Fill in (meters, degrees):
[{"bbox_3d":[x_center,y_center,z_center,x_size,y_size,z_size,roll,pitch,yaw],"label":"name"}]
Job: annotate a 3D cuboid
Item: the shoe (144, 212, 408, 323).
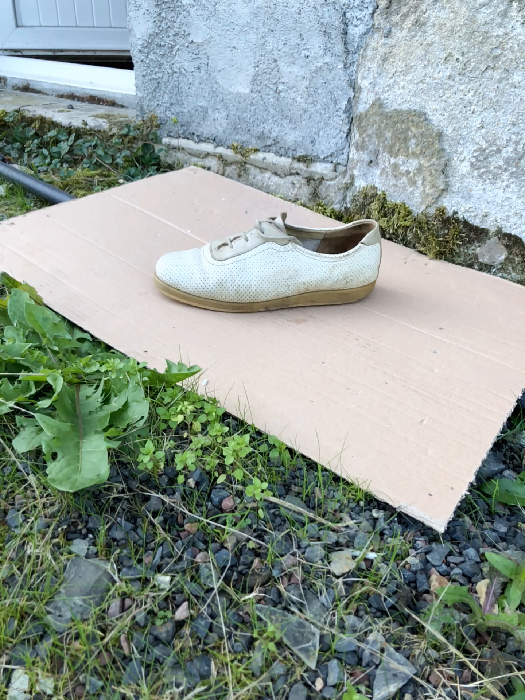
[{"bbox_3d":[0.011,-0.092,0.627,0.260,0.089,0.090,-1,30,-5],"label":"shoe"}]
